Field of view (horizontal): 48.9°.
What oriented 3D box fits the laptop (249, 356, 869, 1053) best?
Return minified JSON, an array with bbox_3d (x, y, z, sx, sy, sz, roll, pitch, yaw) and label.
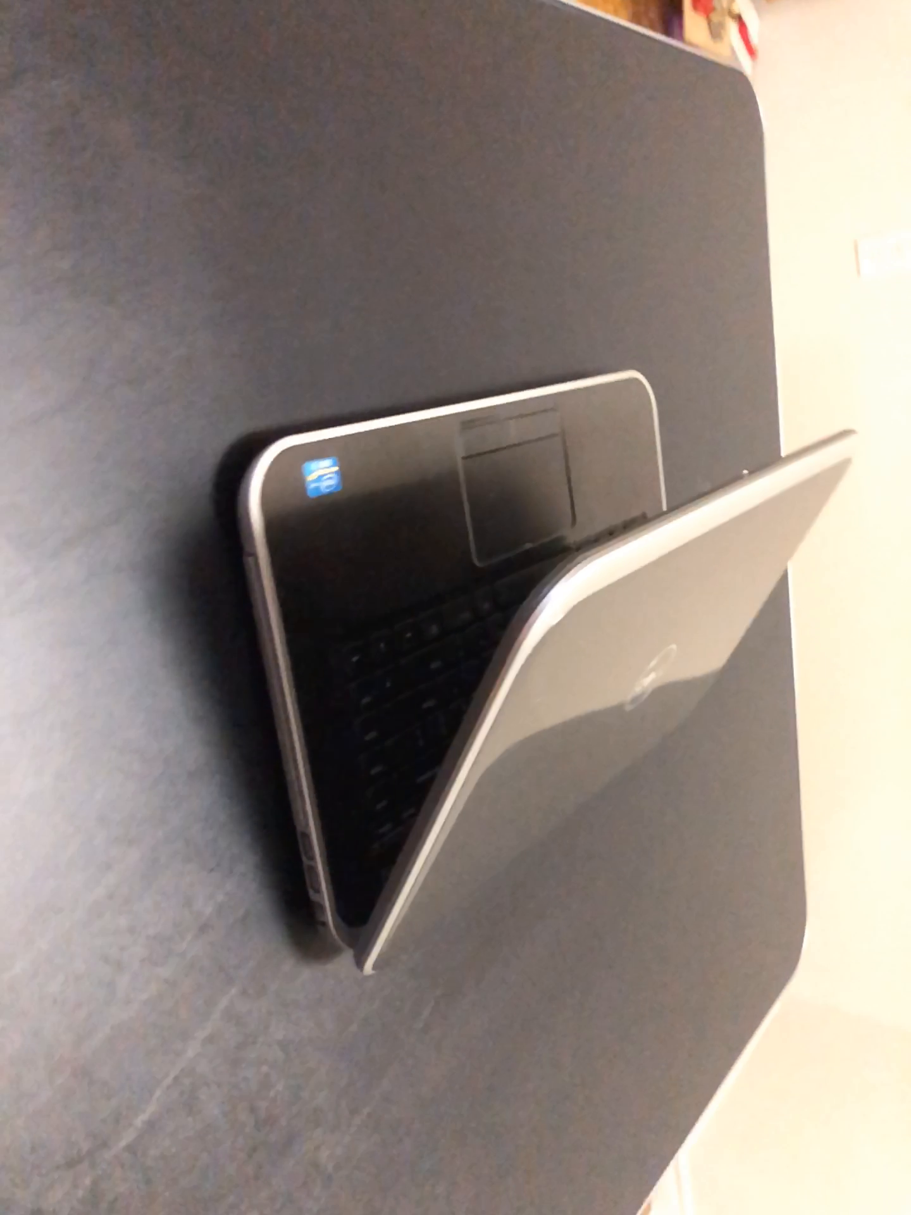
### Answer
[{"bbox_3d":[0.094,0.010,0.540,0.358,0.137,0.239,-25,112,-49],"label":"laptop"}]
